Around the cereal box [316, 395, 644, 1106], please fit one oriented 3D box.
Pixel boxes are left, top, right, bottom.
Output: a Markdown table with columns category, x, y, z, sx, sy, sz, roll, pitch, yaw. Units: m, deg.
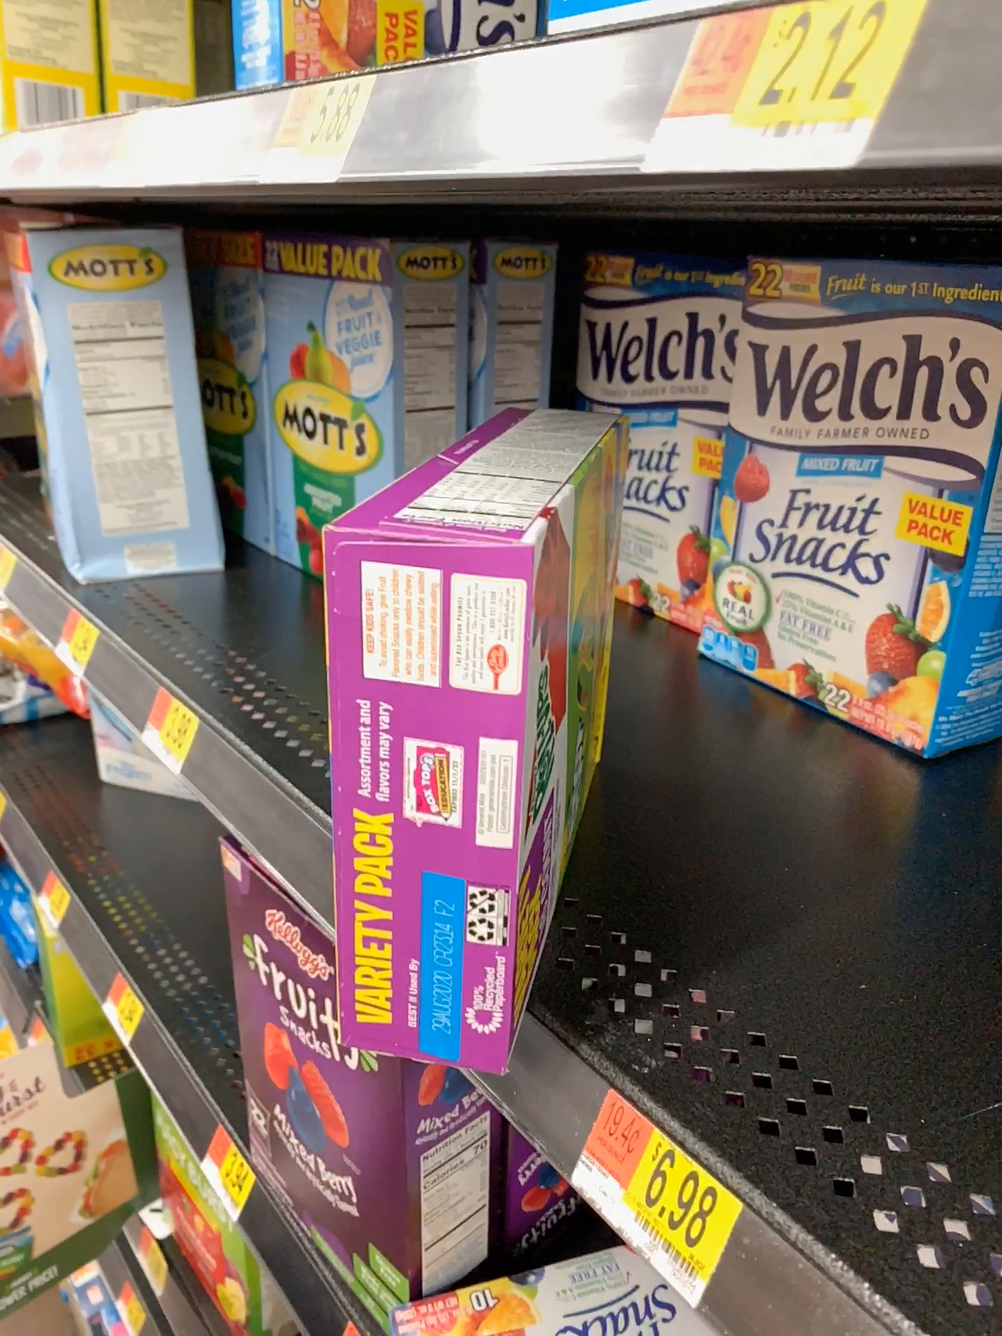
| category | x | y | z | sx | sy | sz | roll | pitch | yaw |
| --- | --- | --- | --- | --- | --- | --- | --- | --- | --- |
| cereal box | 0.006 | 0.005 | 0.377 | 0.060 | 0.169 | 0.221 | 6 | 24 | 11 |
